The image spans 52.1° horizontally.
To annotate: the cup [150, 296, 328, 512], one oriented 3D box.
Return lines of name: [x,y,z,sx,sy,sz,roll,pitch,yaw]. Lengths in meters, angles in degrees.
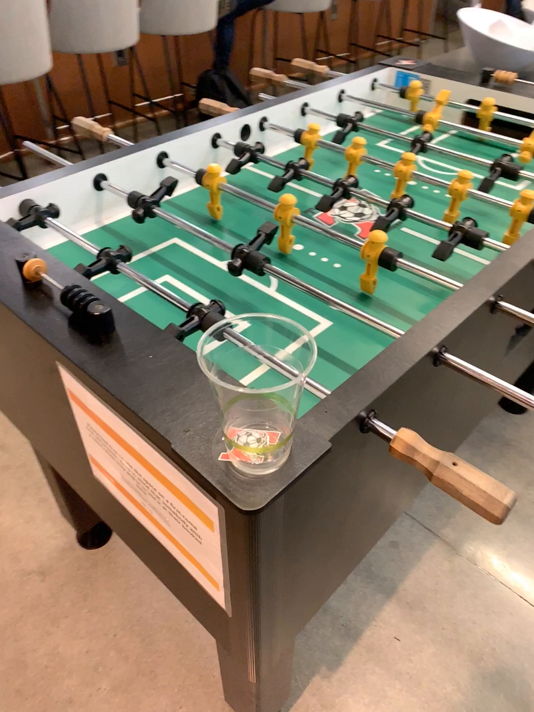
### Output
cup: [-0.023,0.038,0.470,0.100,0.119,0.100,0,41,0]
